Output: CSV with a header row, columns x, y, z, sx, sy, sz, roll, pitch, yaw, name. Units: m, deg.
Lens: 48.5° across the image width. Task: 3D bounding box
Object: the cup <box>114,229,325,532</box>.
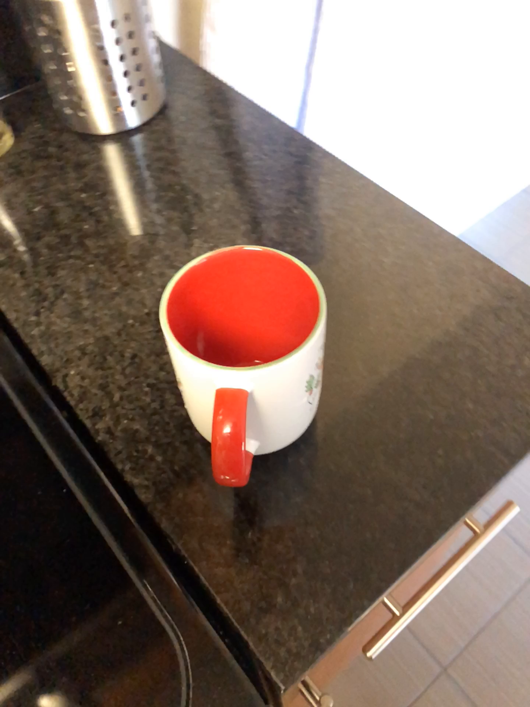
x,y,z,sx,sy,sz,roll,pitch,yaw,name
-0.014,0.016,0.334,0.090,0.110,0.130,2,55,4,cup
